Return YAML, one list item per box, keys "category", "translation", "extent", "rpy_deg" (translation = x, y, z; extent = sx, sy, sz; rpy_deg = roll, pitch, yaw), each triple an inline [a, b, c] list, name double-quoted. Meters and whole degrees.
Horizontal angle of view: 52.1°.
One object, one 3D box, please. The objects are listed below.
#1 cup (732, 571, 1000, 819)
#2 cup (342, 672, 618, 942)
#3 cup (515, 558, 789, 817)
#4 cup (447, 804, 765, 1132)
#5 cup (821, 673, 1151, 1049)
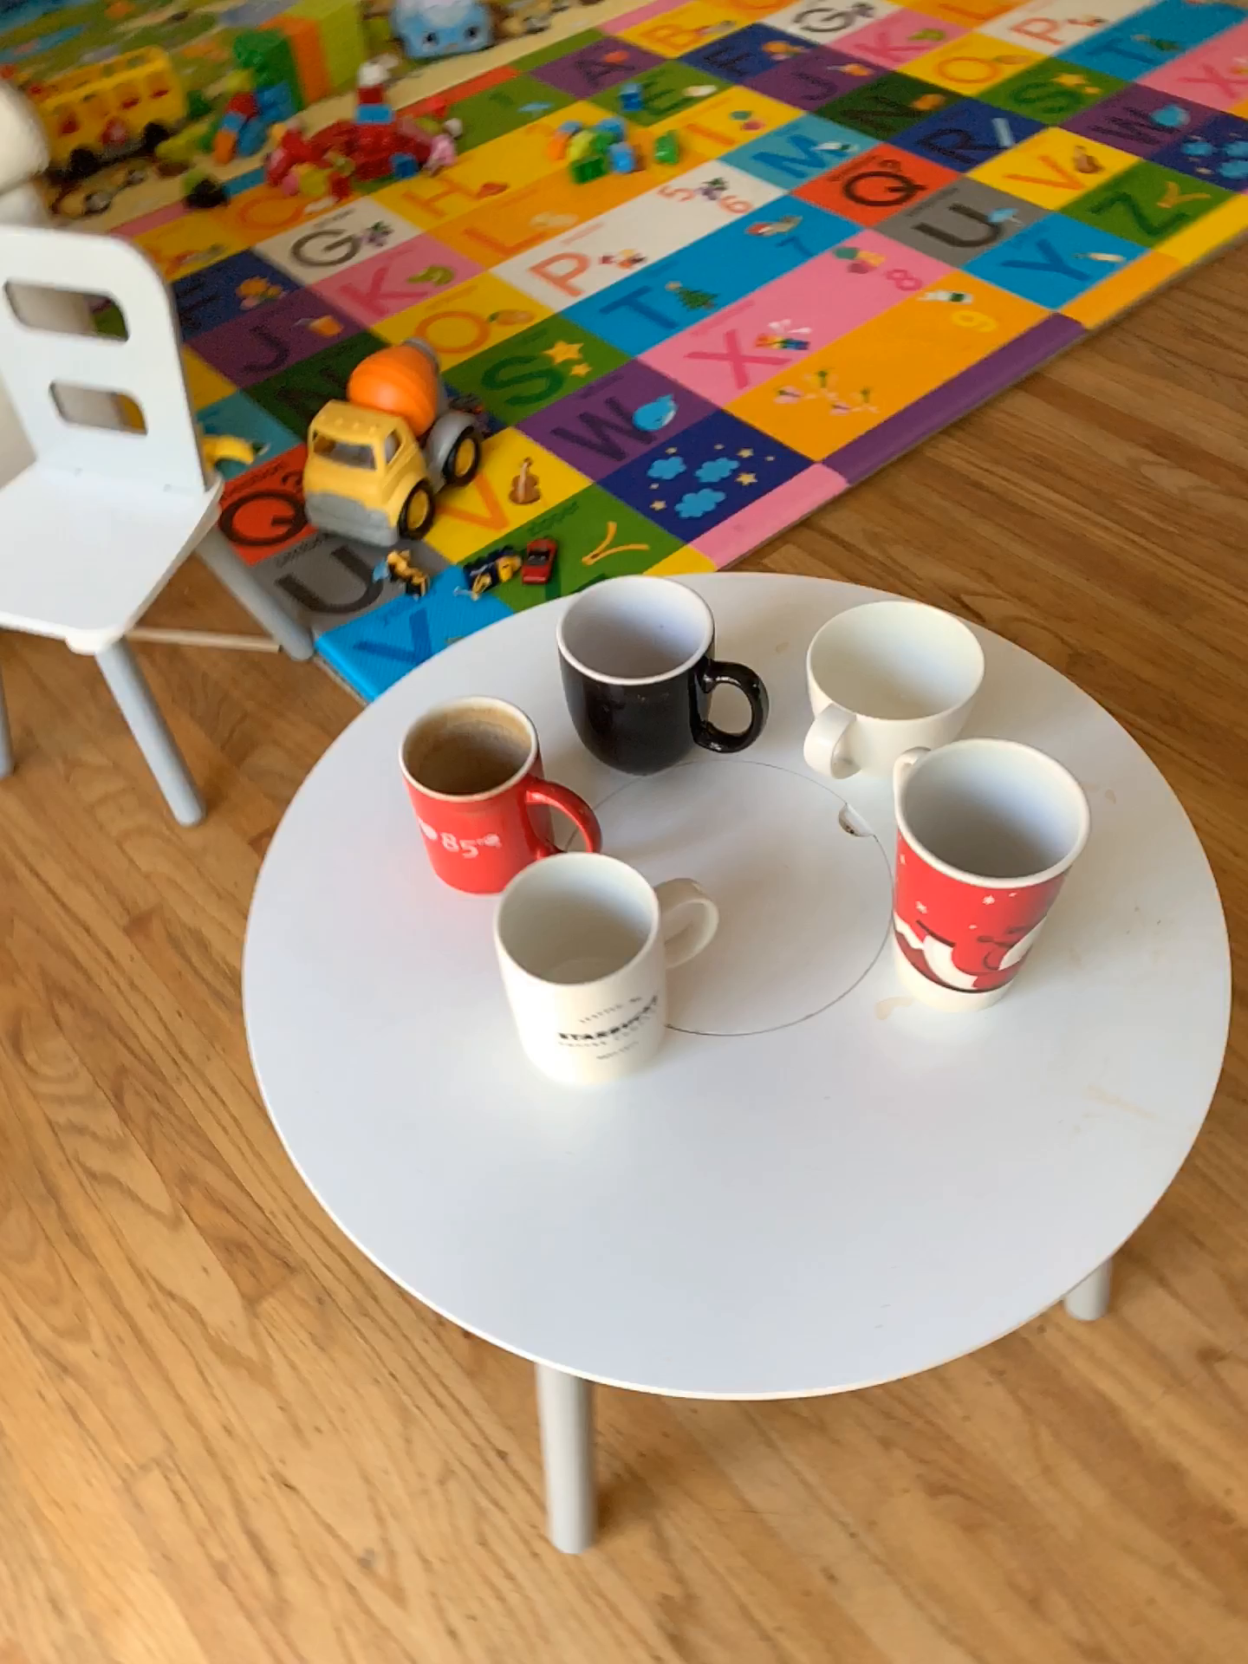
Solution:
- category: "cup"
  translation: [0.137, -0.081, 0.726]
  extent: [0.100, 0.040, 0.120]
  rpy_deg: [29, 60, 24]
- category: "cup"
  translation: [-0.078, -0.015, 0.725]
  extent: [0.120, 0.090, 0.080]
  rpy_deg: [22, 57, 20]
- category: "cup"
  translation: [0.019, -0.088, 0.763]
  extent: [0.130, 0.080, 0.090]
  rpy_deg: [22, 57, 20]
- category: "cup"
  translation: [-0.007, 0.070, 0.657]
  extent: [0.130, 0.100, 0.090]
  rpy_deg: [-20, 54, -11]
- category: "cup"
  translation: [0.181, 0.016, 0.672]
  extent: [0.100, 0.120, 0.130]
  rpy_deg: [-17, 53, -9]
